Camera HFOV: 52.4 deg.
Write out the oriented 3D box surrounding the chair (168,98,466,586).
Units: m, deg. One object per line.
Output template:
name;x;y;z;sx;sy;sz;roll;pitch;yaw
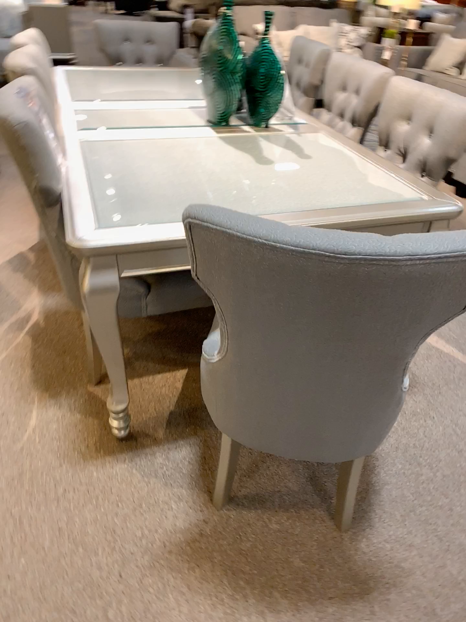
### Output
chair;0.213;0.060;1.177;0.580;0.915;0.684;7;36;4
